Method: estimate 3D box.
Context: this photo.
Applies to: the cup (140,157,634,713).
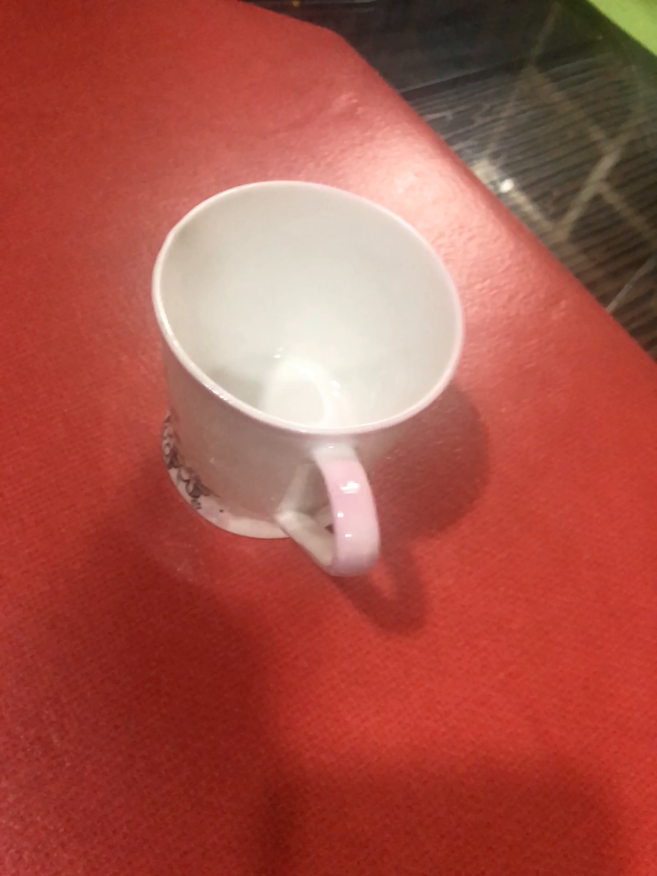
[{"bbox_3d":[0.001,0.000,0.187,0.070,0.080,0.100,-14,64,-21],"label":"cup"}]
